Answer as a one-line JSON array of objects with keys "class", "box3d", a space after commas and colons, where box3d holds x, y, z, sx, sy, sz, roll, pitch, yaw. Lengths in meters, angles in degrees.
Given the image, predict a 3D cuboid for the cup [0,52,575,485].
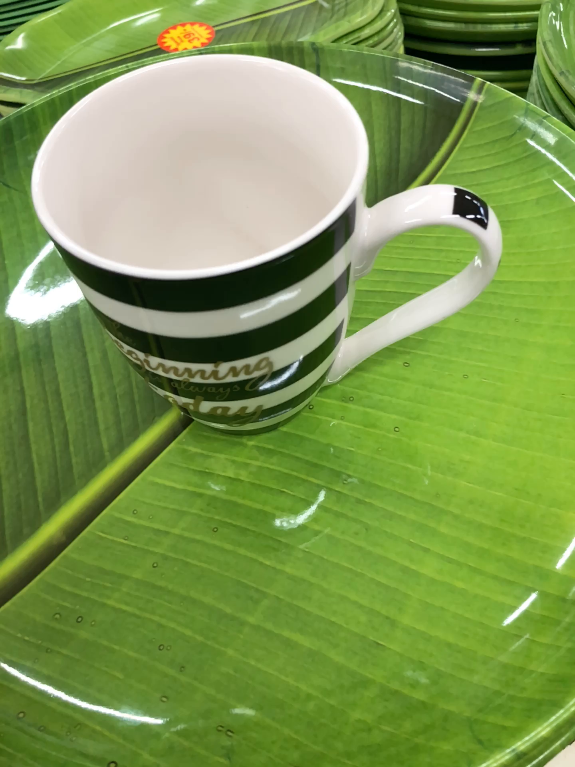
[{"class": "cup", "box3d": [0.004, -0.030, 0.177, 0.130, 0.080, 0.080, 2, 56, 6]}]
